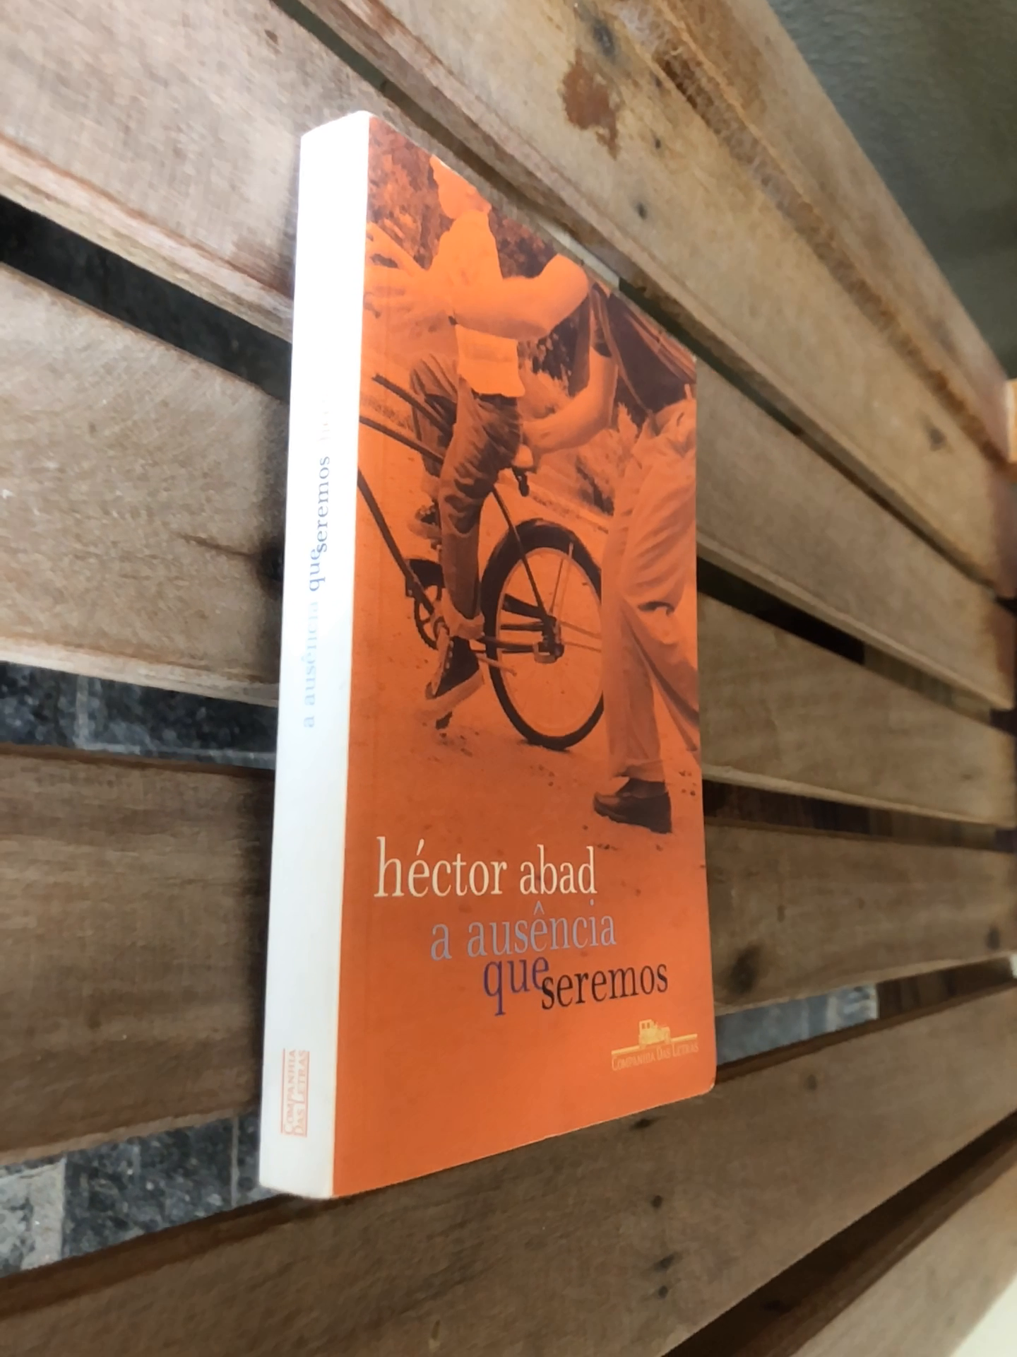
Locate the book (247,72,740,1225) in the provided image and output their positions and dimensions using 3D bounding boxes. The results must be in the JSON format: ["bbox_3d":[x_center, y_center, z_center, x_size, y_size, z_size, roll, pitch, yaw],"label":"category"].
[{"bbox_3d":[0.009,-0.003,0.255,0.143,0.020,0.200,14,74,-52],"label":"book"}]
